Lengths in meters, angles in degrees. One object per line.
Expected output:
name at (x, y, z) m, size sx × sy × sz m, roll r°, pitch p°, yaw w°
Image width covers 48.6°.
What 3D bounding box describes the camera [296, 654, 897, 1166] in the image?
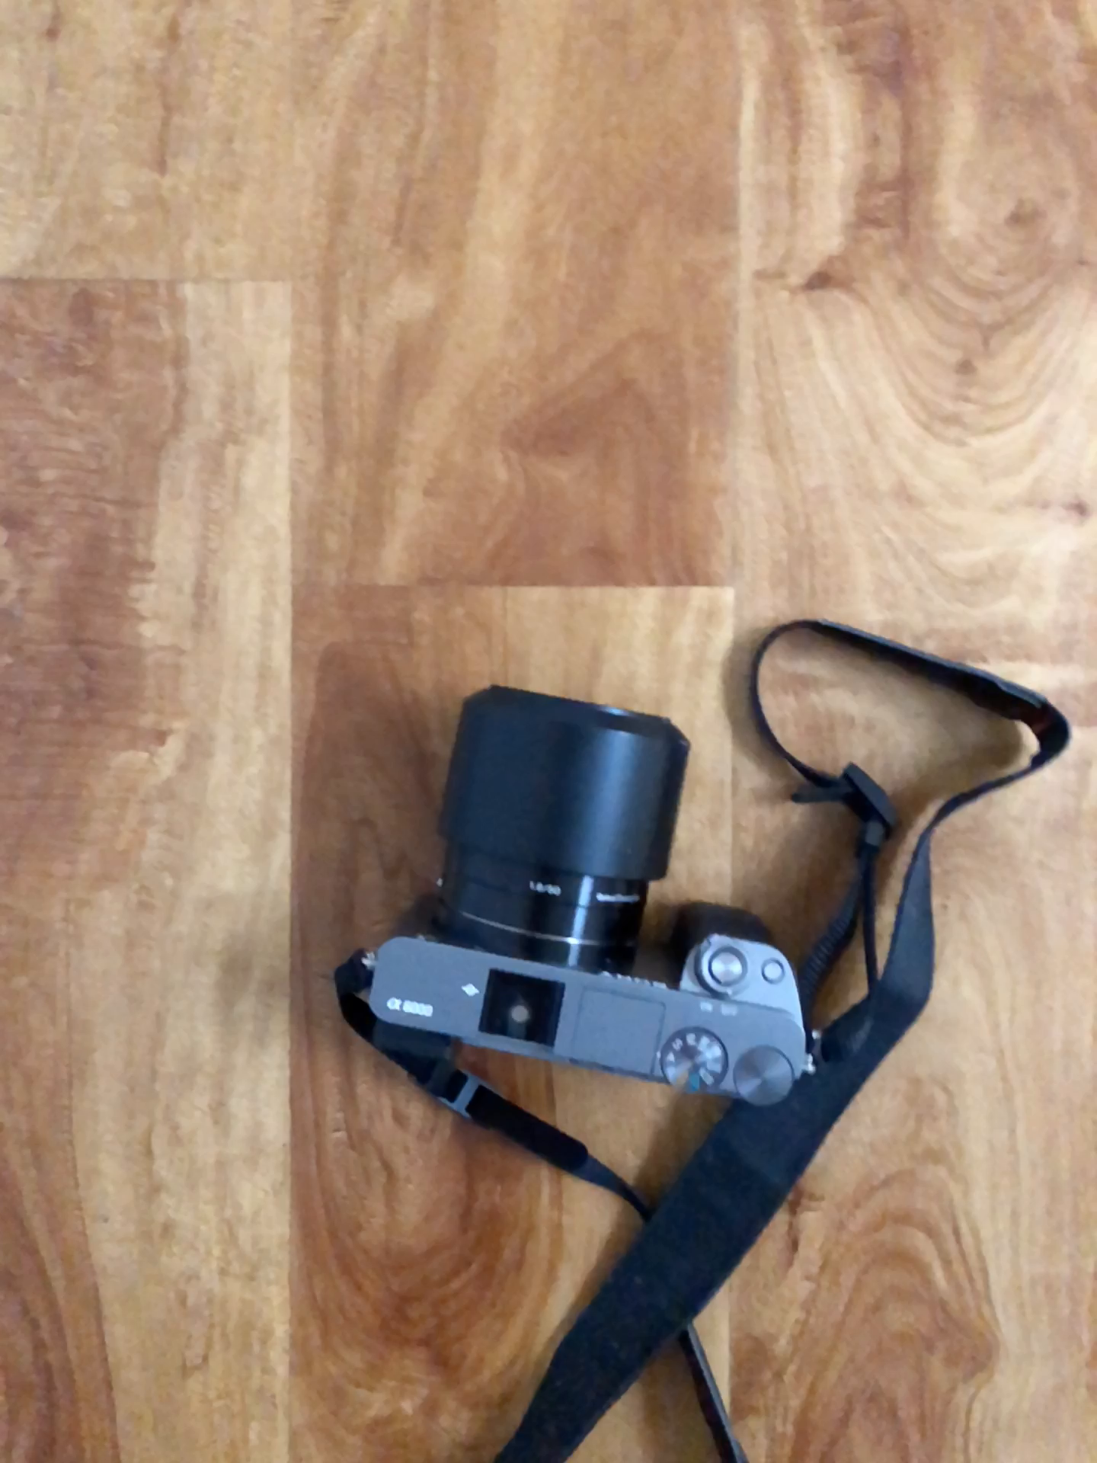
camera at (0.013, 0.047, 0.361) m, size 0.140 × 0.080 × 0.110 m, roll 11°, pitch 90°, yaw 1°
